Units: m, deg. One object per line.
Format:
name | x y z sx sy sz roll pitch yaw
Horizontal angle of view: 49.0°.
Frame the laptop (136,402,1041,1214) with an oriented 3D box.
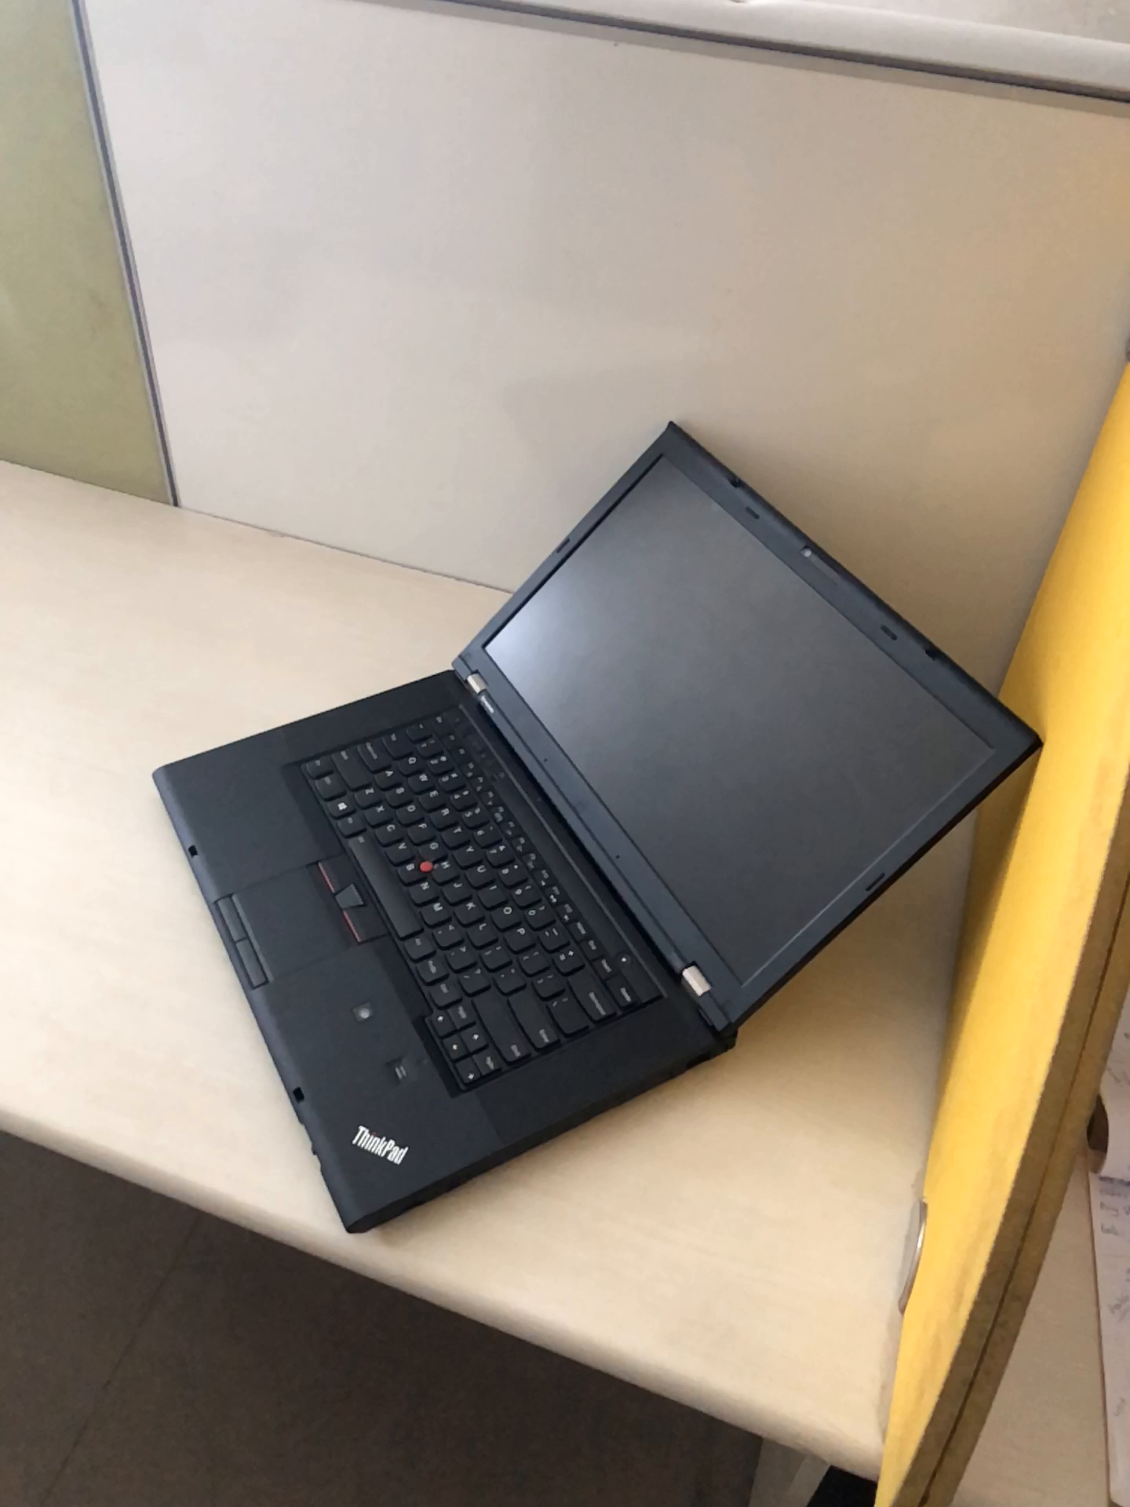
laptop | -0.003 -0.008 0.768 0.418 0.143 0.354 -22 51 -19
